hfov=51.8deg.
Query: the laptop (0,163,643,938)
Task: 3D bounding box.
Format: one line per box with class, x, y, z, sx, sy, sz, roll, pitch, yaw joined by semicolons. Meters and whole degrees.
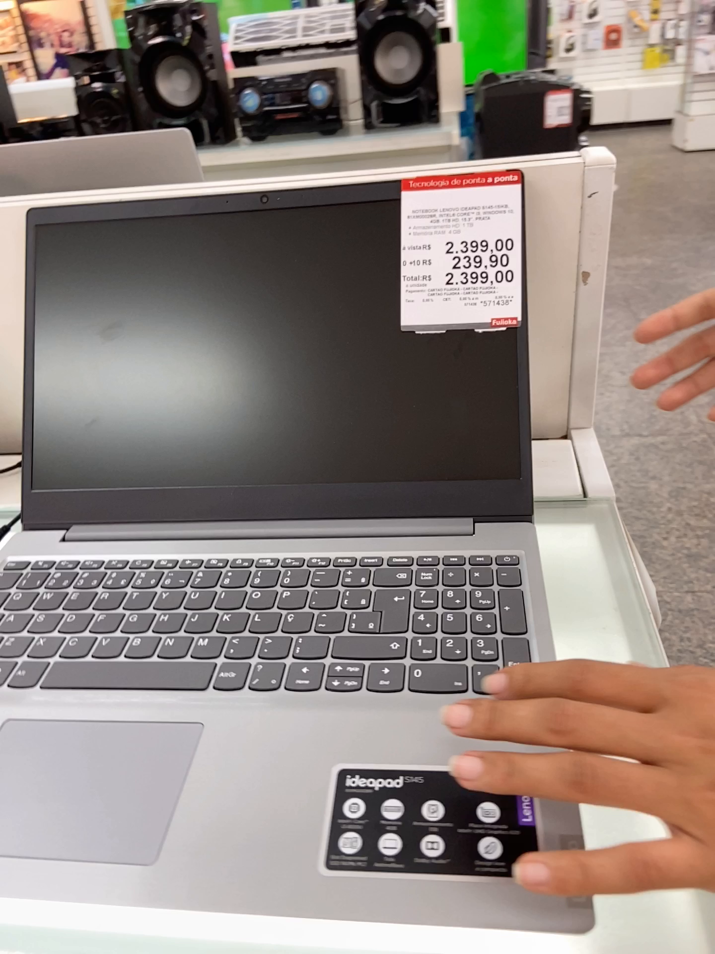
laptop;-0.082;-0.020;0.418;0.369;0.192;0.404;-1;33;9
